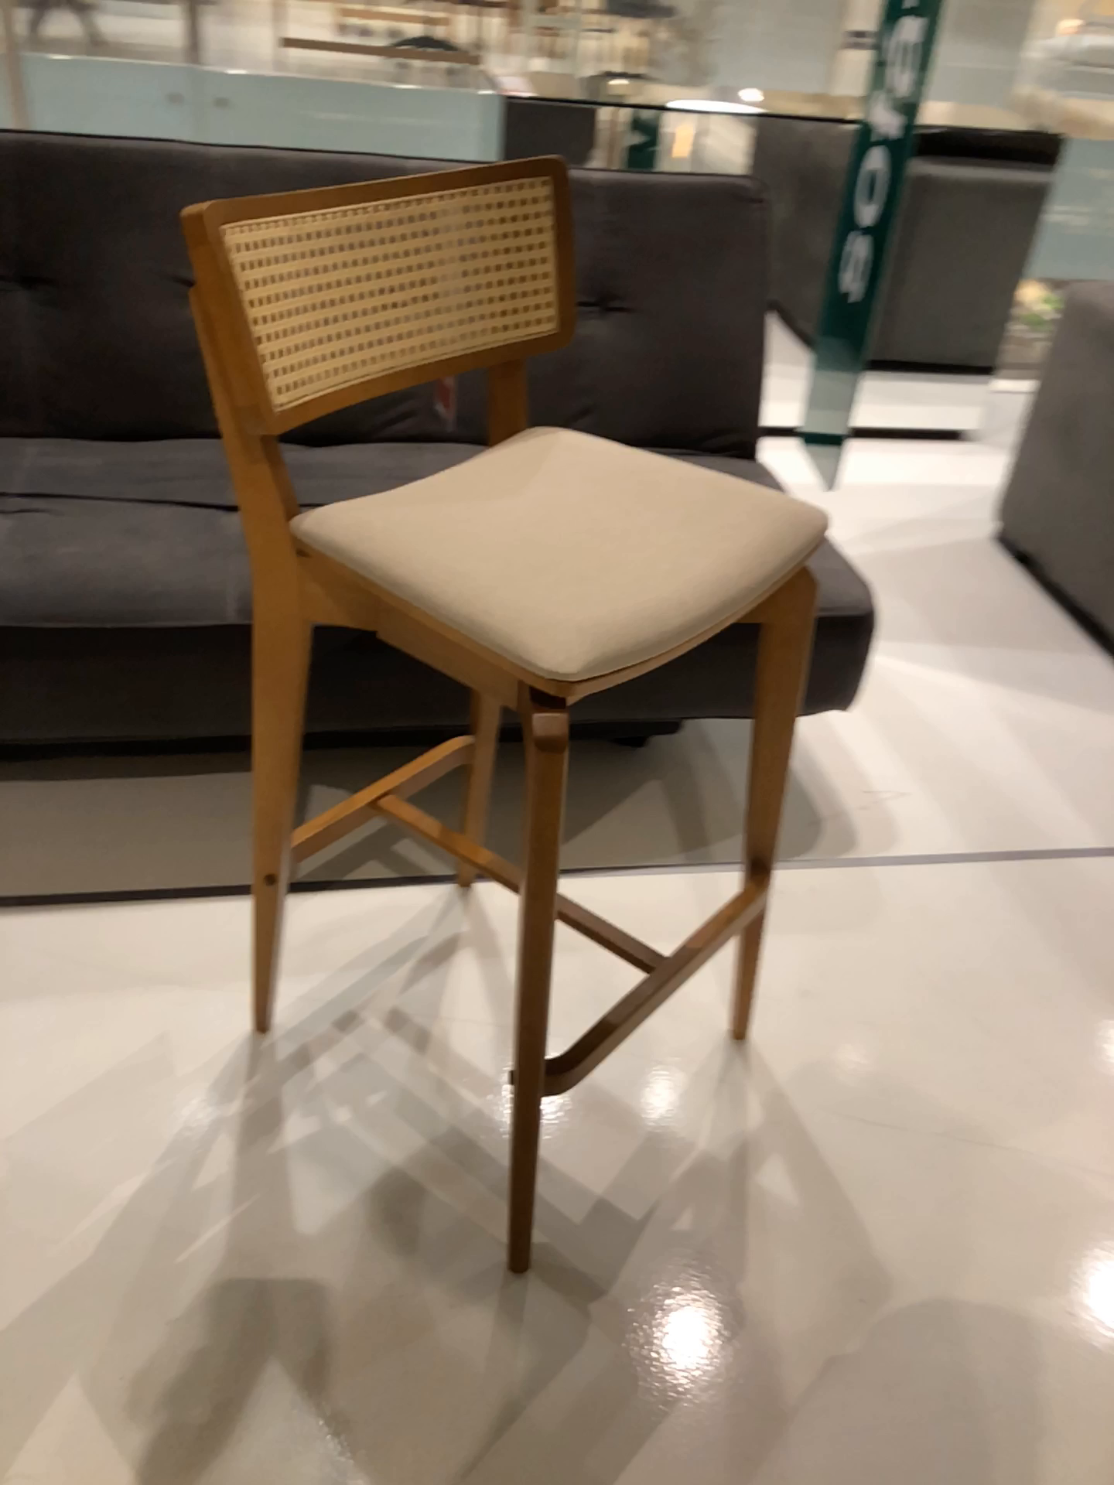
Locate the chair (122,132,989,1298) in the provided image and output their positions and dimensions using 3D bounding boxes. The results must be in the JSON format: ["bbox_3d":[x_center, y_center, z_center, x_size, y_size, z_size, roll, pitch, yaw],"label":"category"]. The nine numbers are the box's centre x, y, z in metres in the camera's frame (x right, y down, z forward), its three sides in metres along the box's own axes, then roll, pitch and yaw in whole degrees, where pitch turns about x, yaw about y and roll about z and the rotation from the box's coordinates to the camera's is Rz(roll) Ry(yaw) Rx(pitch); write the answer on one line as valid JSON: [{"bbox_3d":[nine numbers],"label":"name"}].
[{"bbox_3d":[-0.030,-0.035,1.256,0.521,0.962,0.473,28,40,29],"label":"chair"}]
